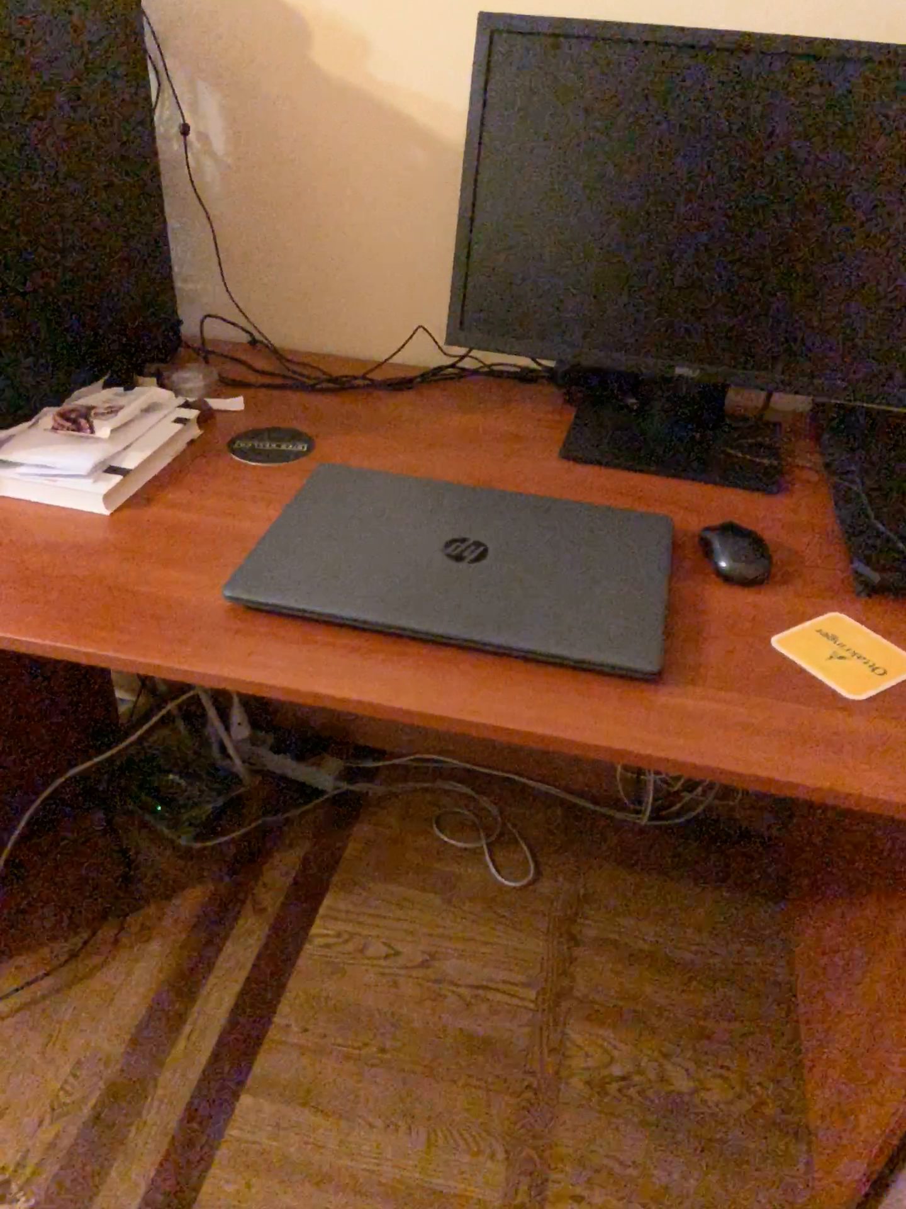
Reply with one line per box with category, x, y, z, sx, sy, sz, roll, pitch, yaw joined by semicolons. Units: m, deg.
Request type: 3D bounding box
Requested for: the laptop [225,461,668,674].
laptop;0.009;-0.050;0.851;0.368;0.005;0.248;10;36;10
